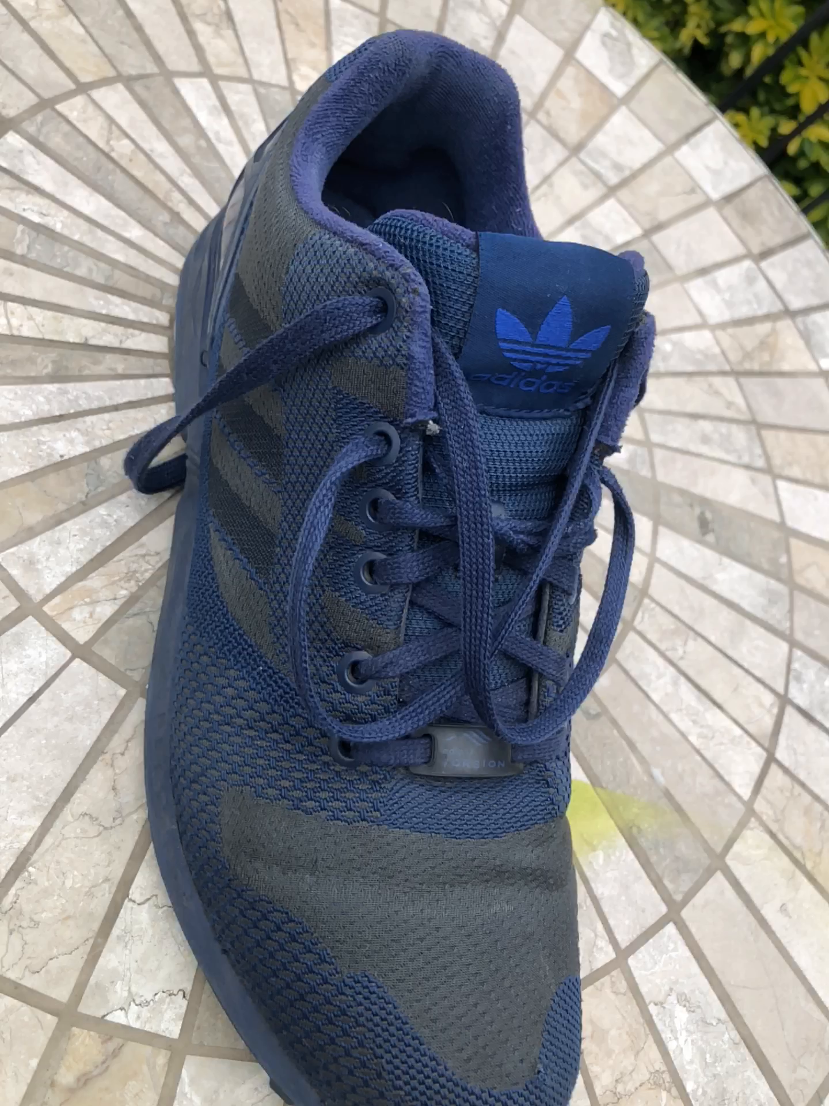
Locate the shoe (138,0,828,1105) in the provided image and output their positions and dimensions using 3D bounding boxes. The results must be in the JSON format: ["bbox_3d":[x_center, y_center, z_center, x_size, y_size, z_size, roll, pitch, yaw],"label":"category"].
[{"bbox_3d":[-0.002,0.002,0.239,0.110,0.109,0.281,5,65,-28],"label":"shoe"}]
